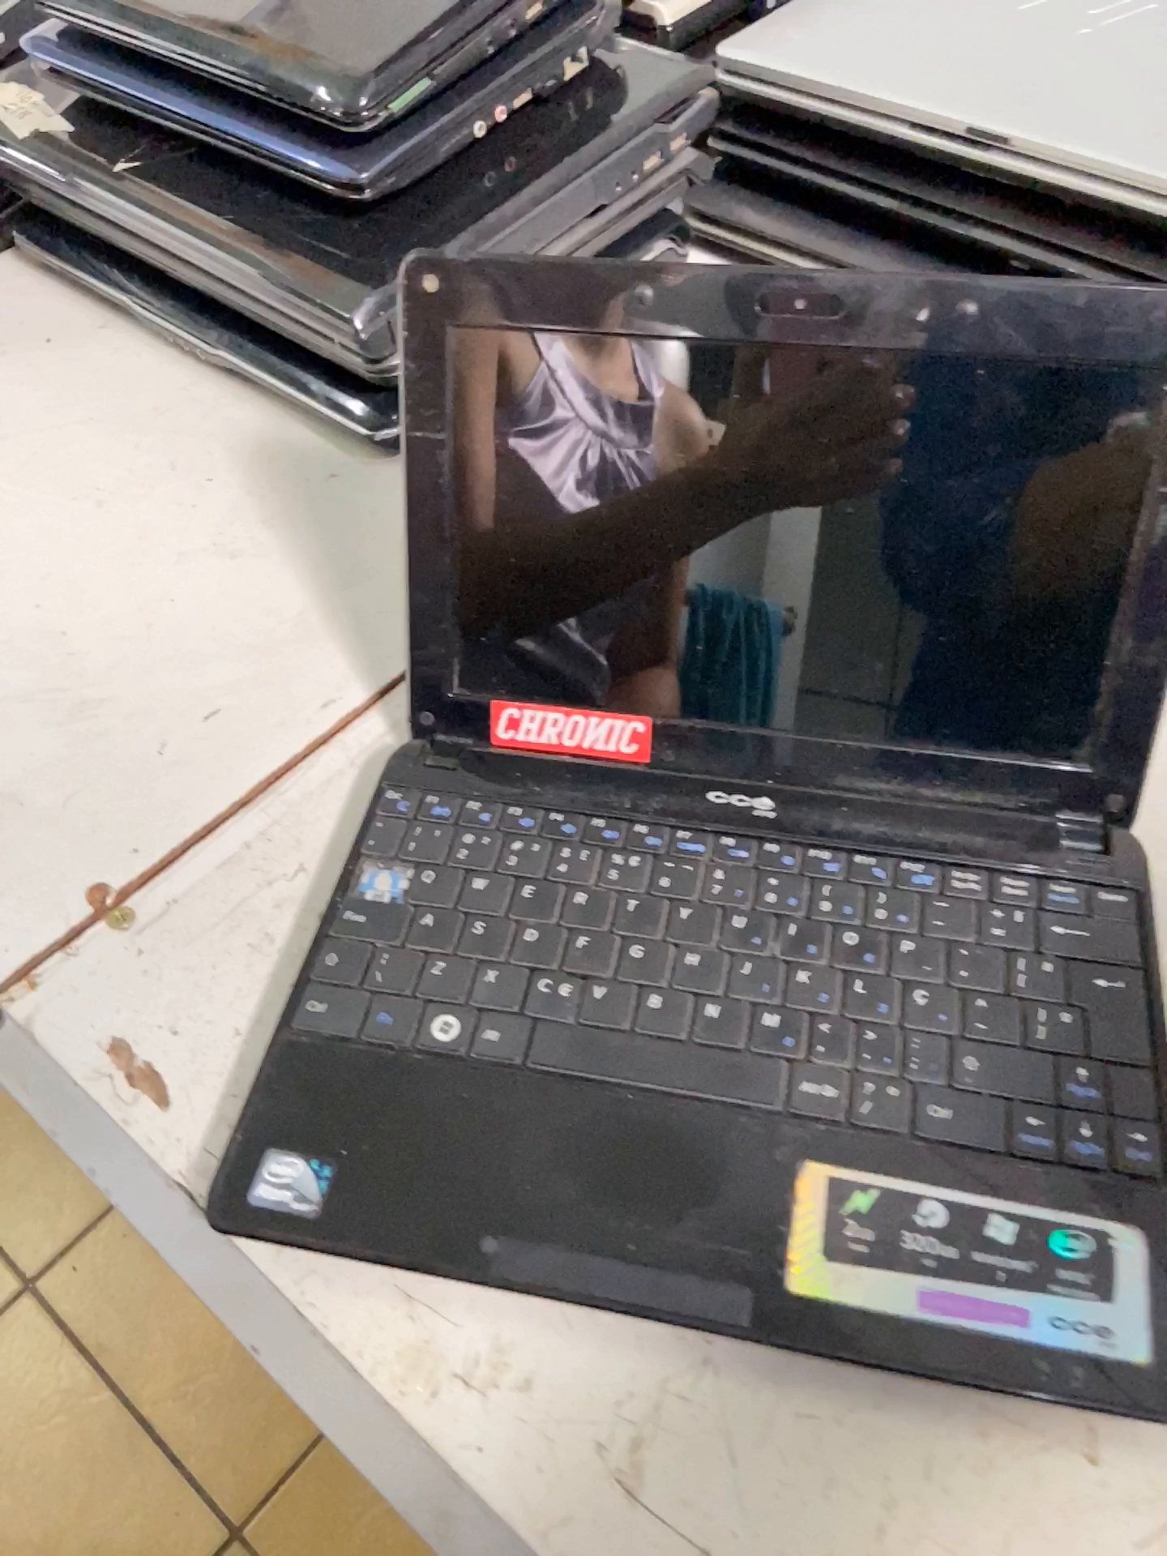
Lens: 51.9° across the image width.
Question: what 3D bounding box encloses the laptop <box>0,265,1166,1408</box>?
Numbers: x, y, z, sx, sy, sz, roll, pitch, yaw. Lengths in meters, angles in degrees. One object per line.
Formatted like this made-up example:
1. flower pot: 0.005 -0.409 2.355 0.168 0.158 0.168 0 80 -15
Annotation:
1. laptop: 0.043 -0.007 0.335 0.253 0.137 0.259 7 52 11
